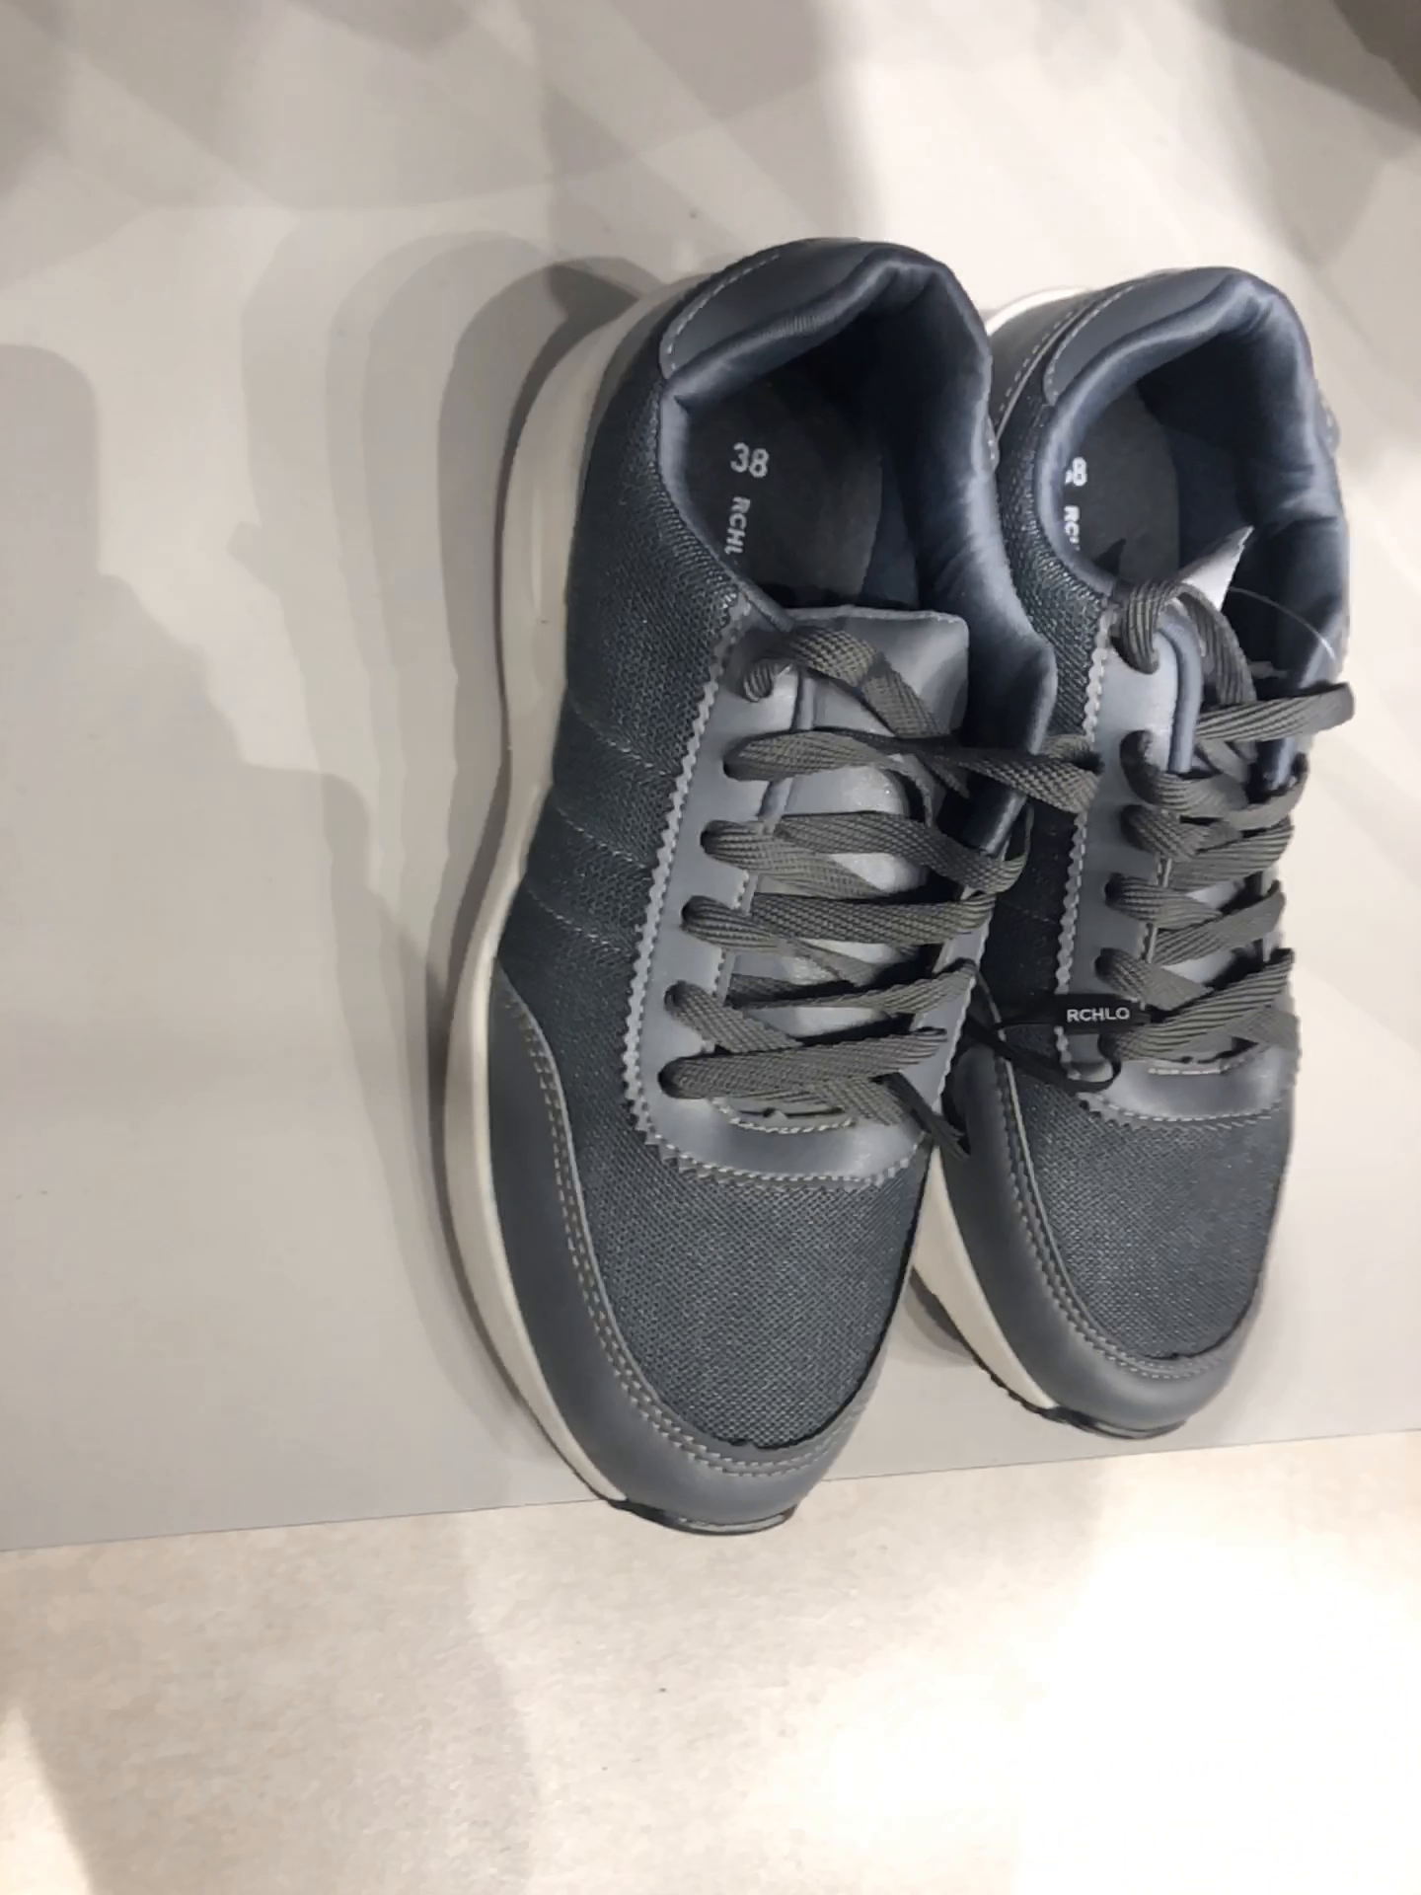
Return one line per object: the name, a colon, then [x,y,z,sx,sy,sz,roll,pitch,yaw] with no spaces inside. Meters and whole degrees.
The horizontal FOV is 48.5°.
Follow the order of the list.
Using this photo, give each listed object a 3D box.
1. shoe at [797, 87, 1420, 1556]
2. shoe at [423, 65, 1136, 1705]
shoe: [0.099,-0.025,0.361,0.110,0.100,0.280,0,82,-21]
shoe: [0.005,-0.012,0.331,0.110,0.100,0.280,2,81,-21]
